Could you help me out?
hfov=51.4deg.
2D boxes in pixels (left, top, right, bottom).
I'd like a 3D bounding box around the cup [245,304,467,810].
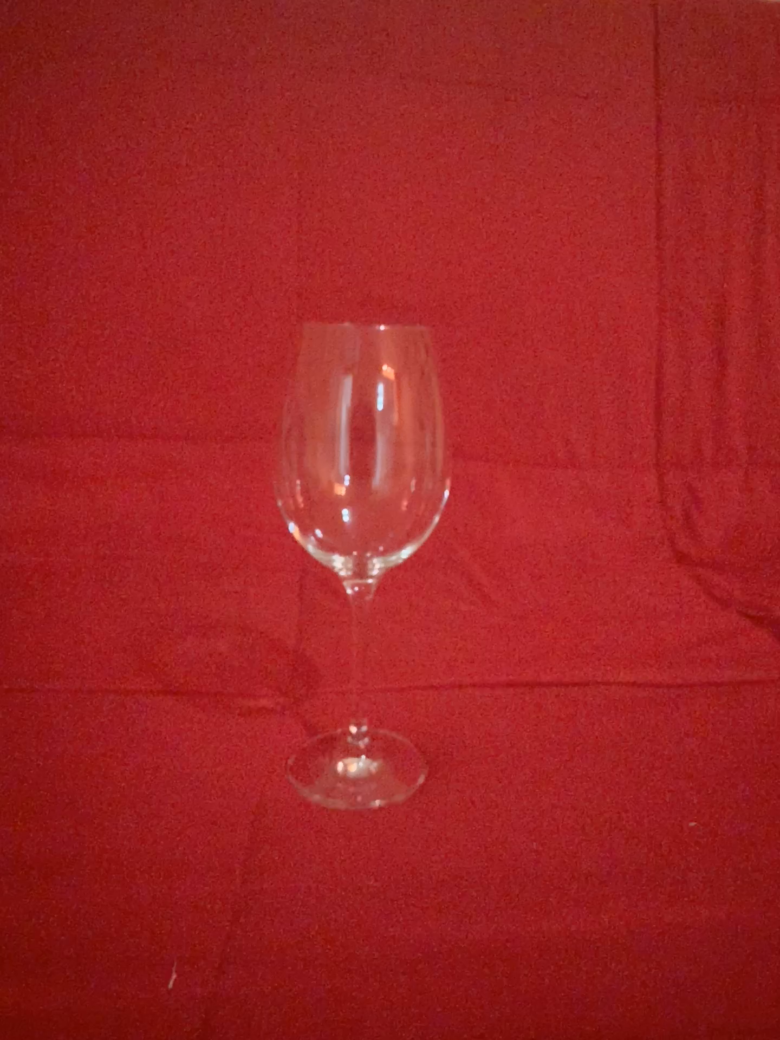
[{"bbox_3d":[-0.017,0.018,0.420,0.094,0.246,0.083,1,17,-1],"label":"cup"}]
